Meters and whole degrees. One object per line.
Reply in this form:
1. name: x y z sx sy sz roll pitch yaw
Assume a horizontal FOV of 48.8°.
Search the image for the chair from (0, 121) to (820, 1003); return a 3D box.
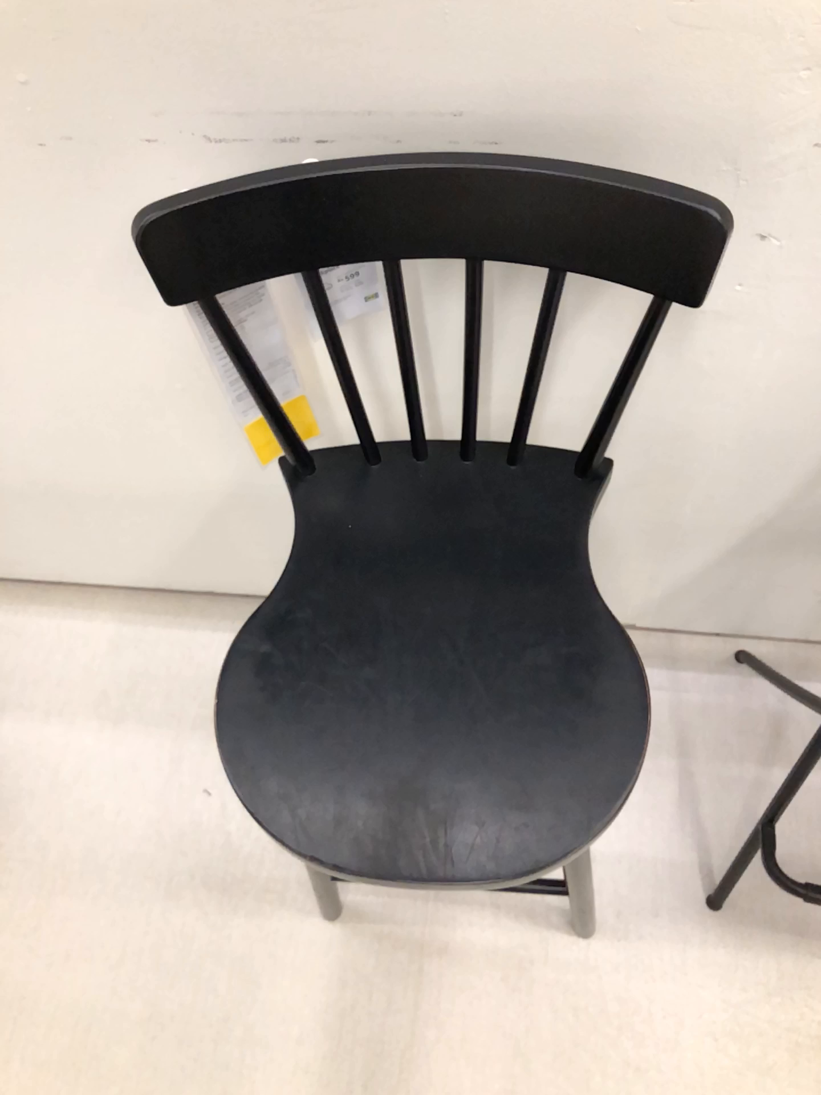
1. chair: 0.021 0.144 0.867 0.460 0.876 0.482 1 63 6
